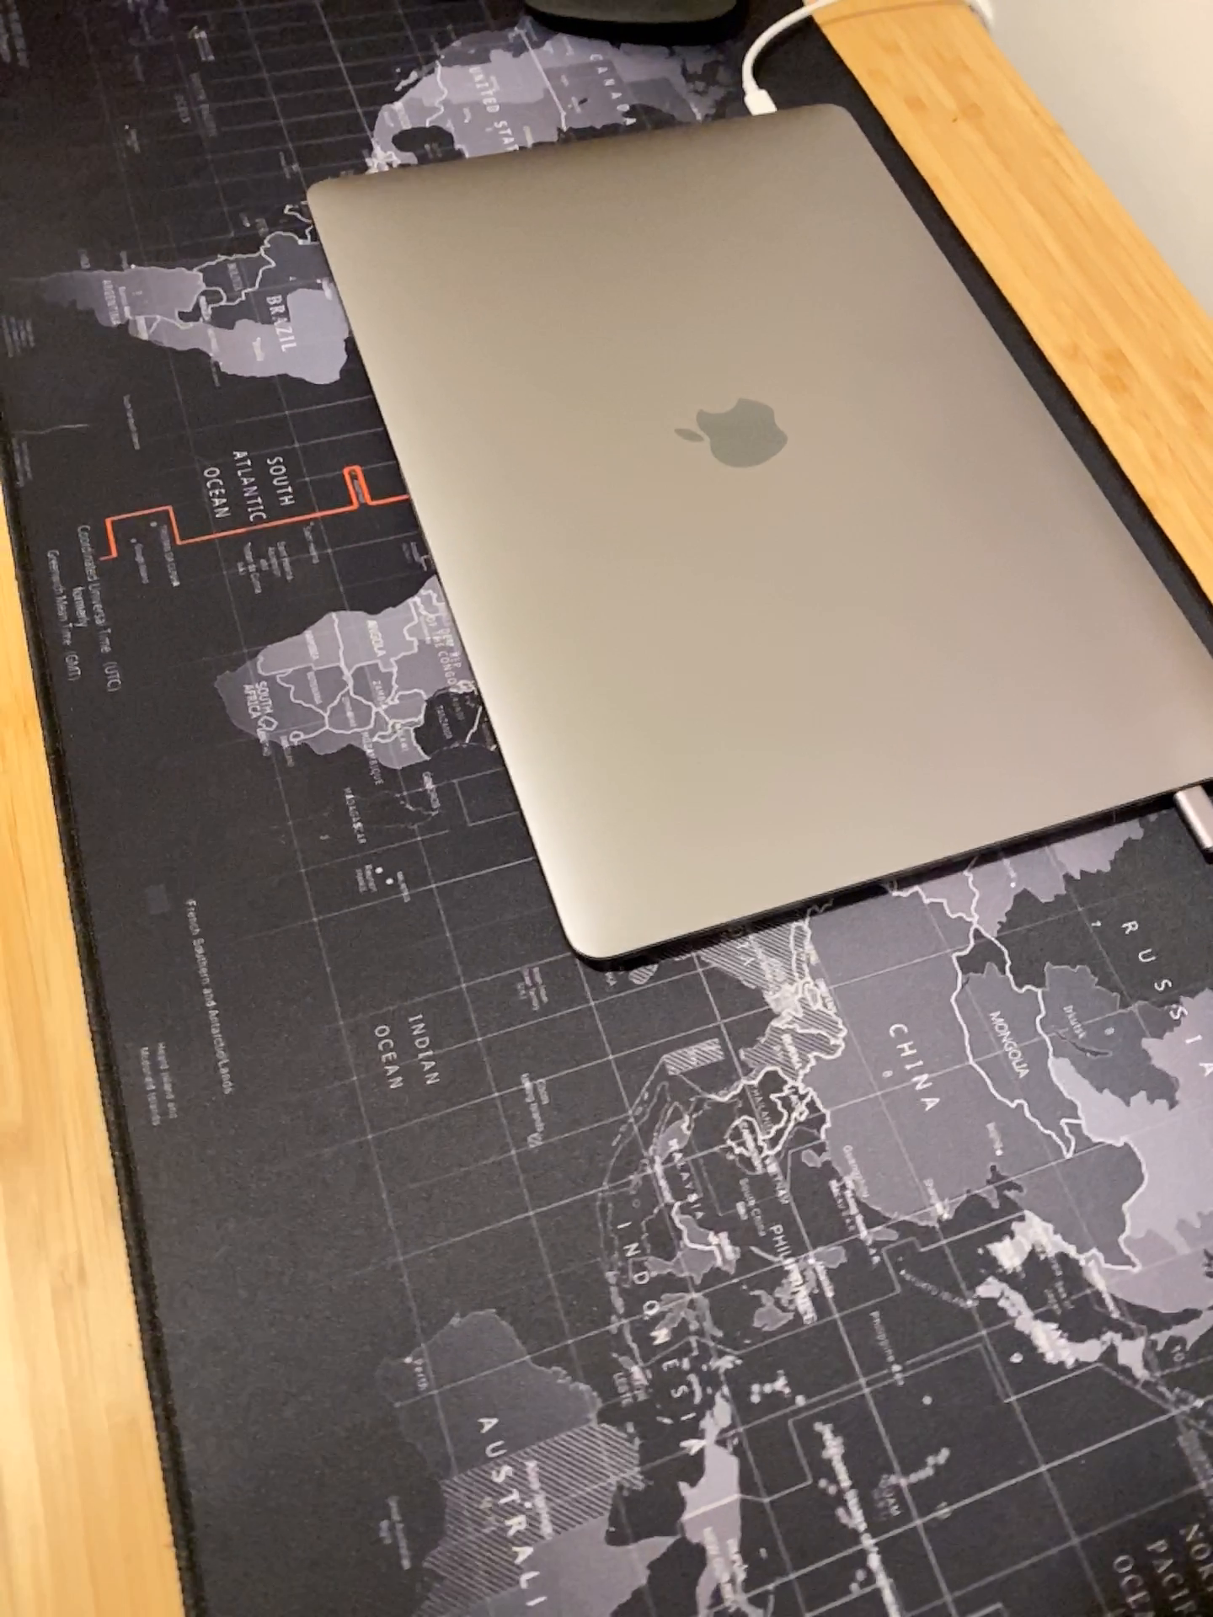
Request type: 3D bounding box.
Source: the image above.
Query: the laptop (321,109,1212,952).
[{"bbox_3d":[0.045,-0.132,0.442,0.226,0.002,0.336,-15,63,-11],"label":"laptop"}]
